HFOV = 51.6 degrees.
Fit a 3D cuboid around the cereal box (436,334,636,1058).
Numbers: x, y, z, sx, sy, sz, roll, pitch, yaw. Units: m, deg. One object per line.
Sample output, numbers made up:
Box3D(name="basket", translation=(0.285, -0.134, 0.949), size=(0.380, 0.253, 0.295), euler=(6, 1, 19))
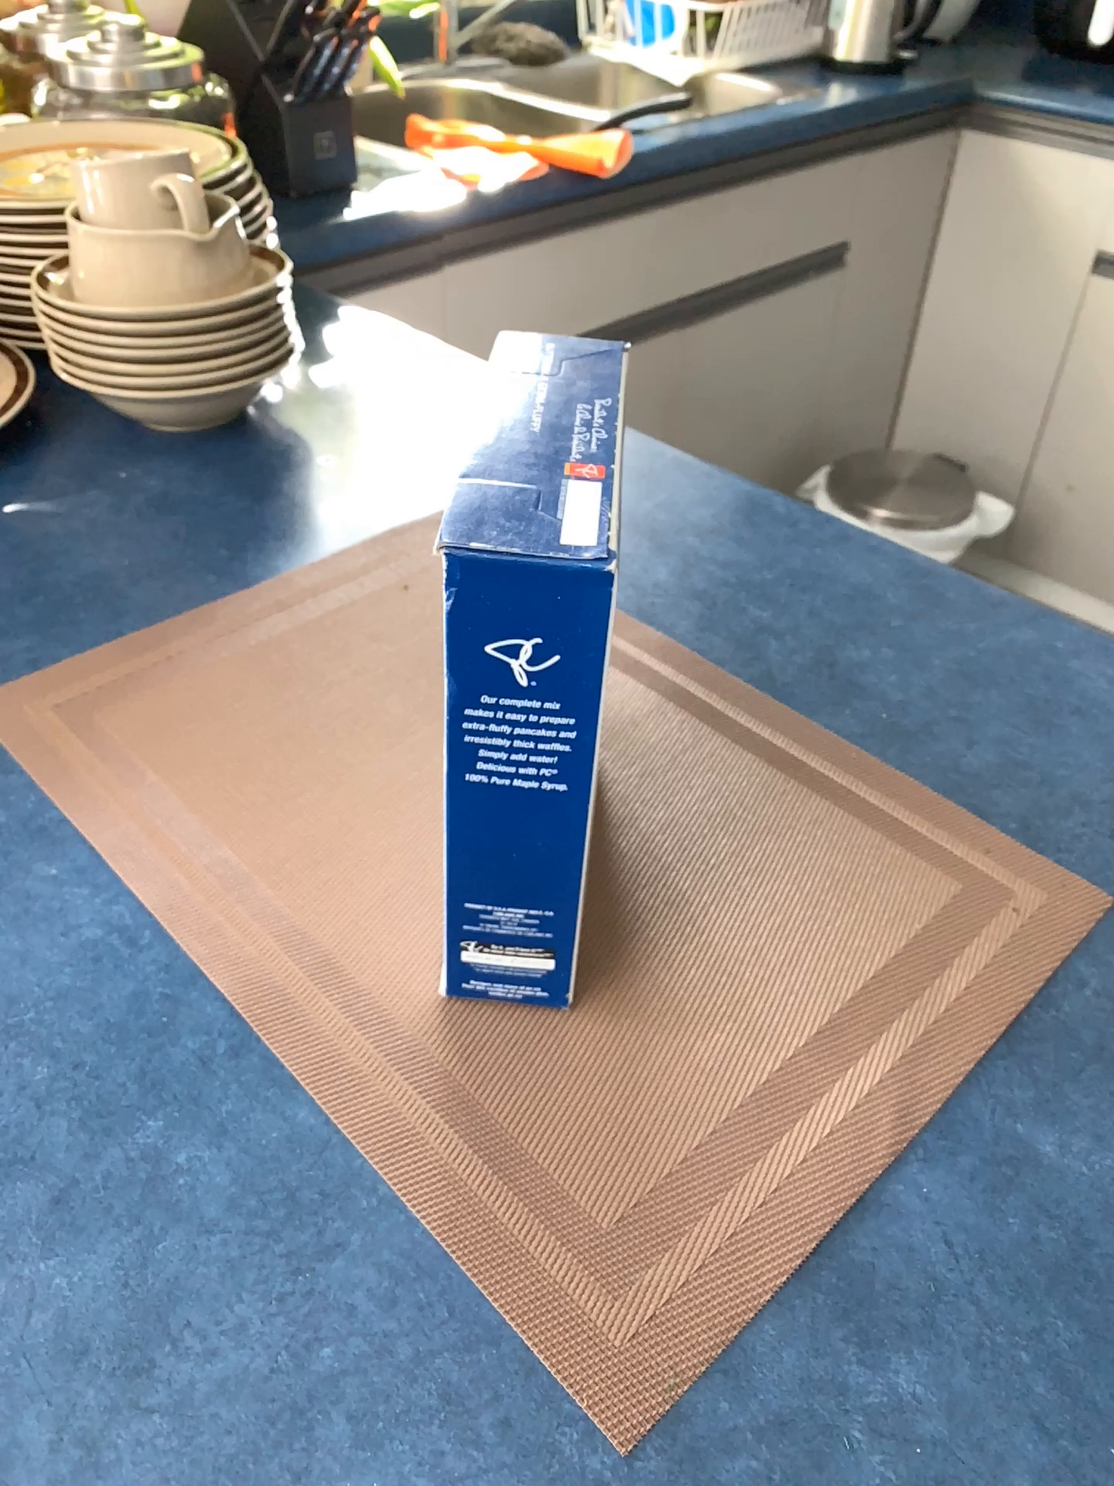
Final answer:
Box3D(name="cereal box", translation=(-0.004, -0.019, 0.434), size=(0.050, 0.208, 0.172), euler=(4, 39, 2))
